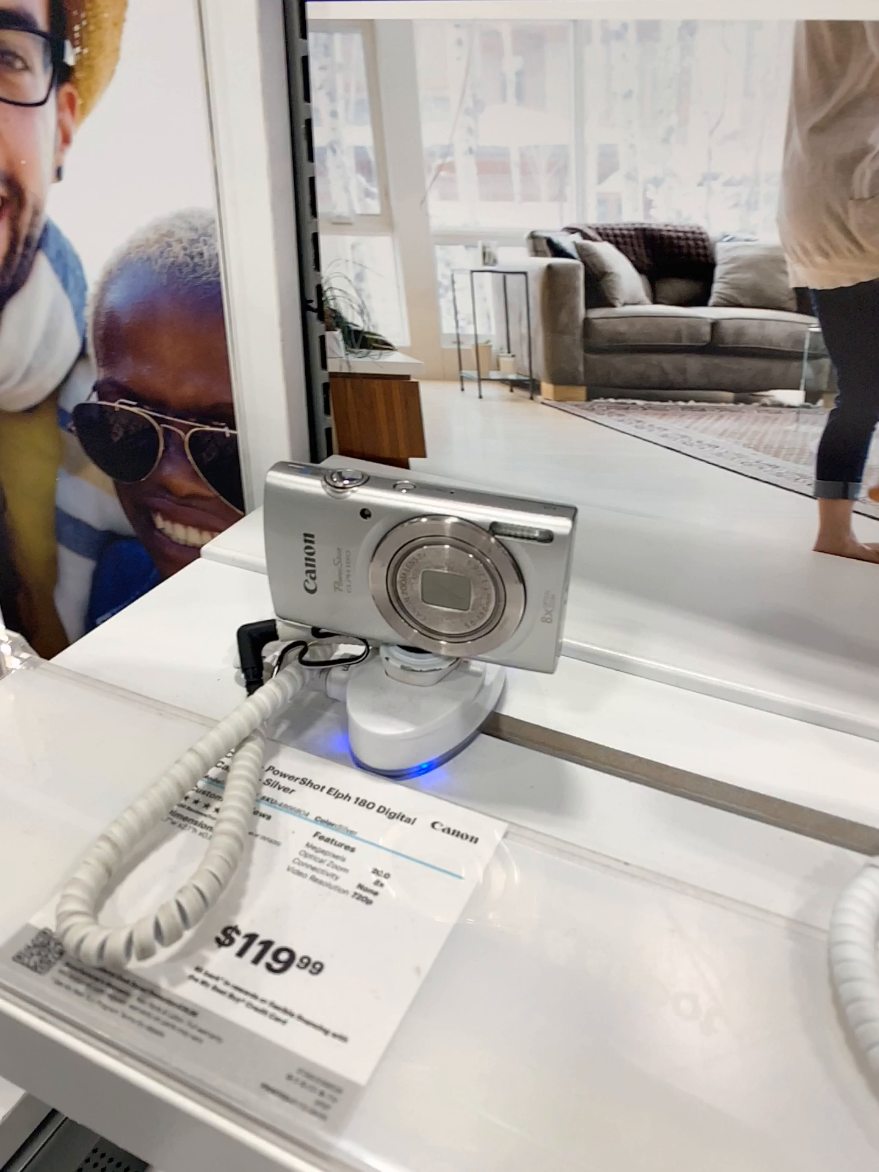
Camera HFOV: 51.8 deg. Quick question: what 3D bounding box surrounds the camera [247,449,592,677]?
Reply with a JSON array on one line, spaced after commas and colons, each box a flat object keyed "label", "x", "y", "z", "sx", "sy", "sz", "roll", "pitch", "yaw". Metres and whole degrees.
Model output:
[{"label": "camera", "x": -0.006, "y": -0.008, "z": 0.278, "sx": 0.098, "sy": 0.051, "sz": 0.022, "roll": 10, "pitch": 38, "yaw": 14}]
